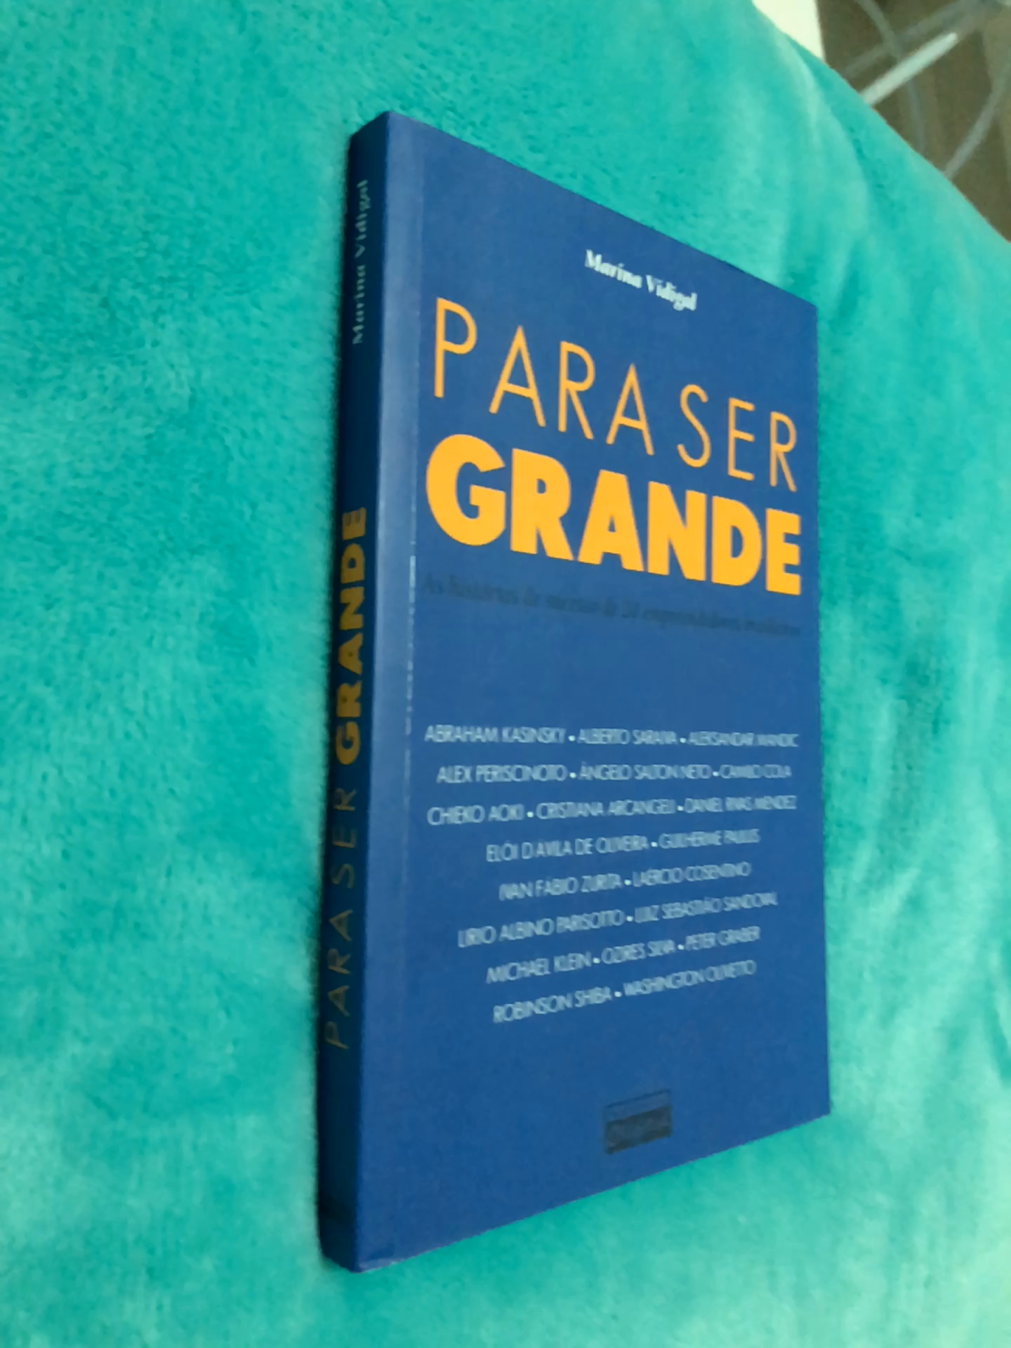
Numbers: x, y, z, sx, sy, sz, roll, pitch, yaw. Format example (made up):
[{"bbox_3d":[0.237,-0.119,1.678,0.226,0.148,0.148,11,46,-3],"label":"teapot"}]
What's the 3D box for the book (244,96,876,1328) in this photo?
[{"bbox_3d":[0.022,0.008,0.238,0.140,0.030,0.200,5,87,-39],"label":"book"}]
